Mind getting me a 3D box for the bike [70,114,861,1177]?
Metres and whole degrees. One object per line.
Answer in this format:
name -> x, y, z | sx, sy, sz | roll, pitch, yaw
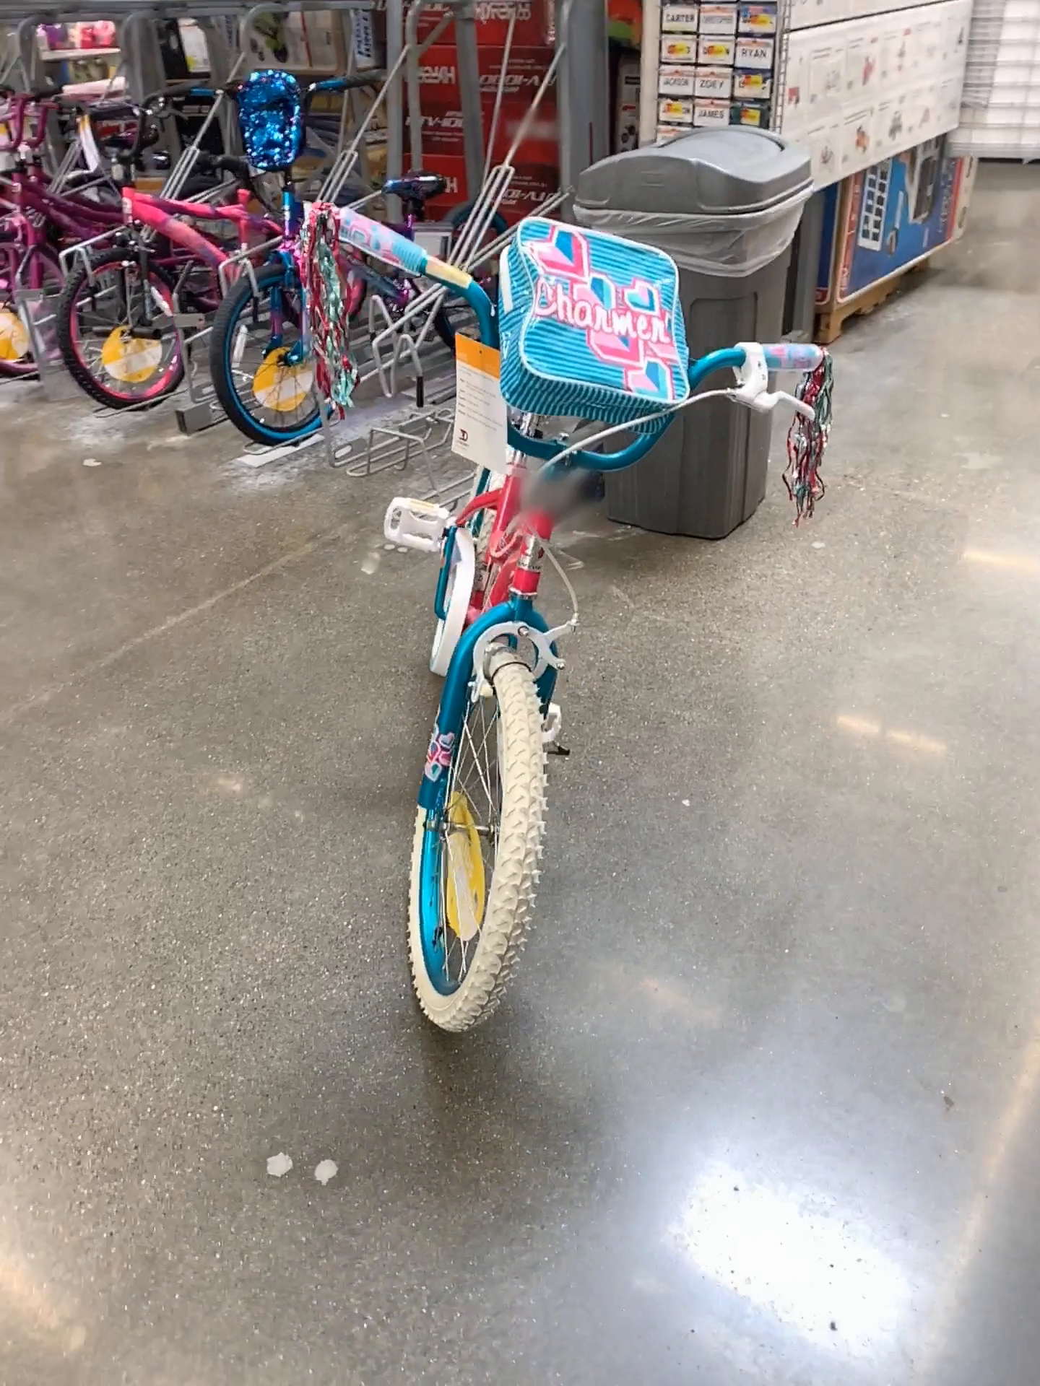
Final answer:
bike -> -0.025, -0.213, 1.623 | 0.652, 0.929, 1.269 | -4, 36, -1
